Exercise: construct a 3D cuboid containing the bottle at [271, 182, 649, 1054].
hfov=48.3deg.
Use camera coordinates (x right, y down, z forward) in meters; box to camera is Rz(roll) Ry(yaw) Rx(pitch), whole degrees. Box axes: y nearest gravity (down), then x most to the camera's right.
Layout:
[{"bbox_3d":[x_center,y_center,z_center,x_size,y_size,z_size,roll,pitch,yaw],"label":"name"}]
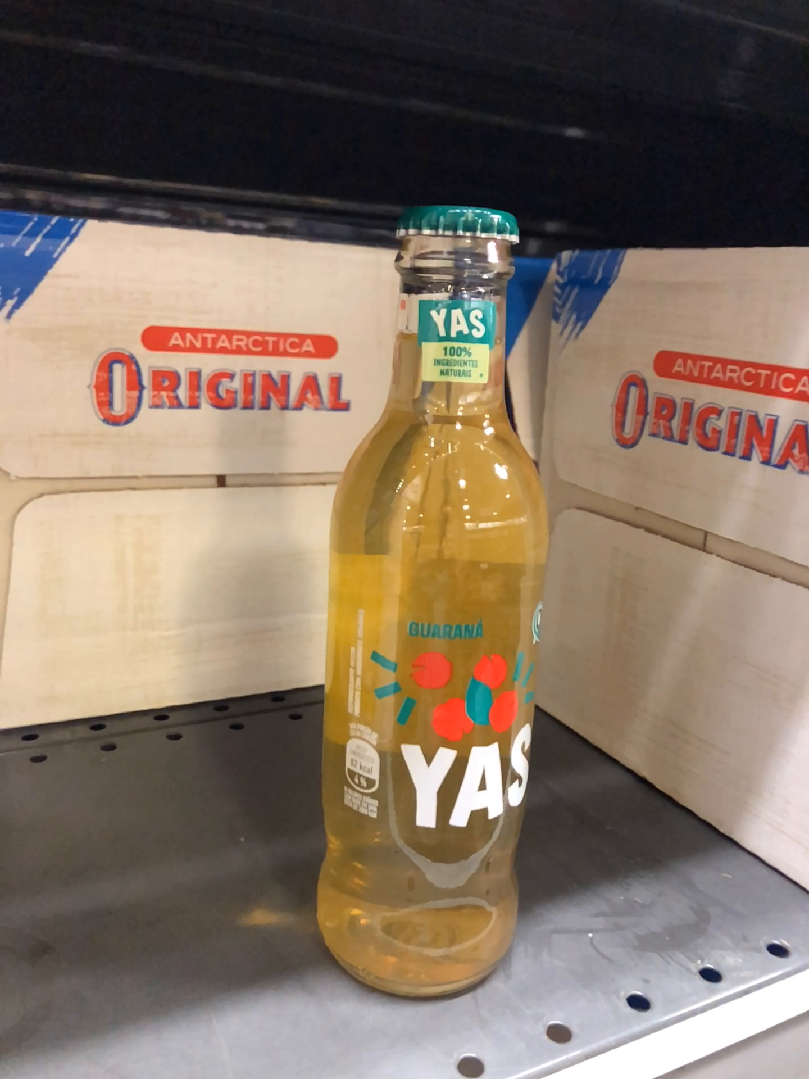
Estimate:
[{"bbox_3d":[0.007,0.019,0.234,0.060,0.199,0.060,3,15,-1],"label":"bottle"}]
